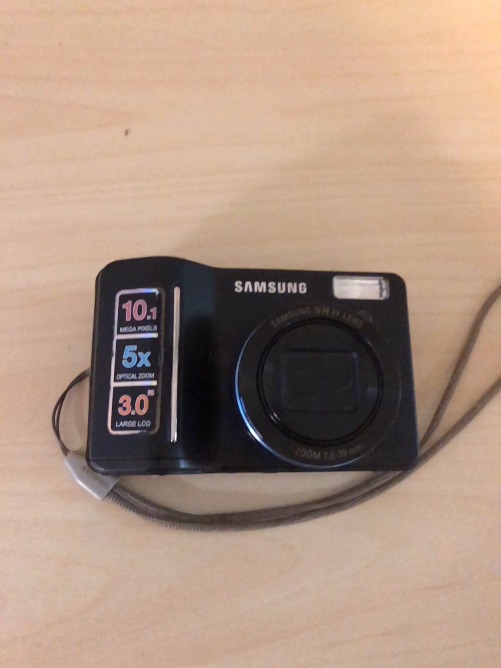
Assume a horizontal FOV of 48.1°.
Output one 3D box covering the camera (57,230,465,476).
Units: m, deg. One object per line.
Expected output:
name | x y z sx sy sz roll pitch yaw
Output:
camera | 0.003 0.008 0.175 0.110 0.030 0.070 1 75 -4
